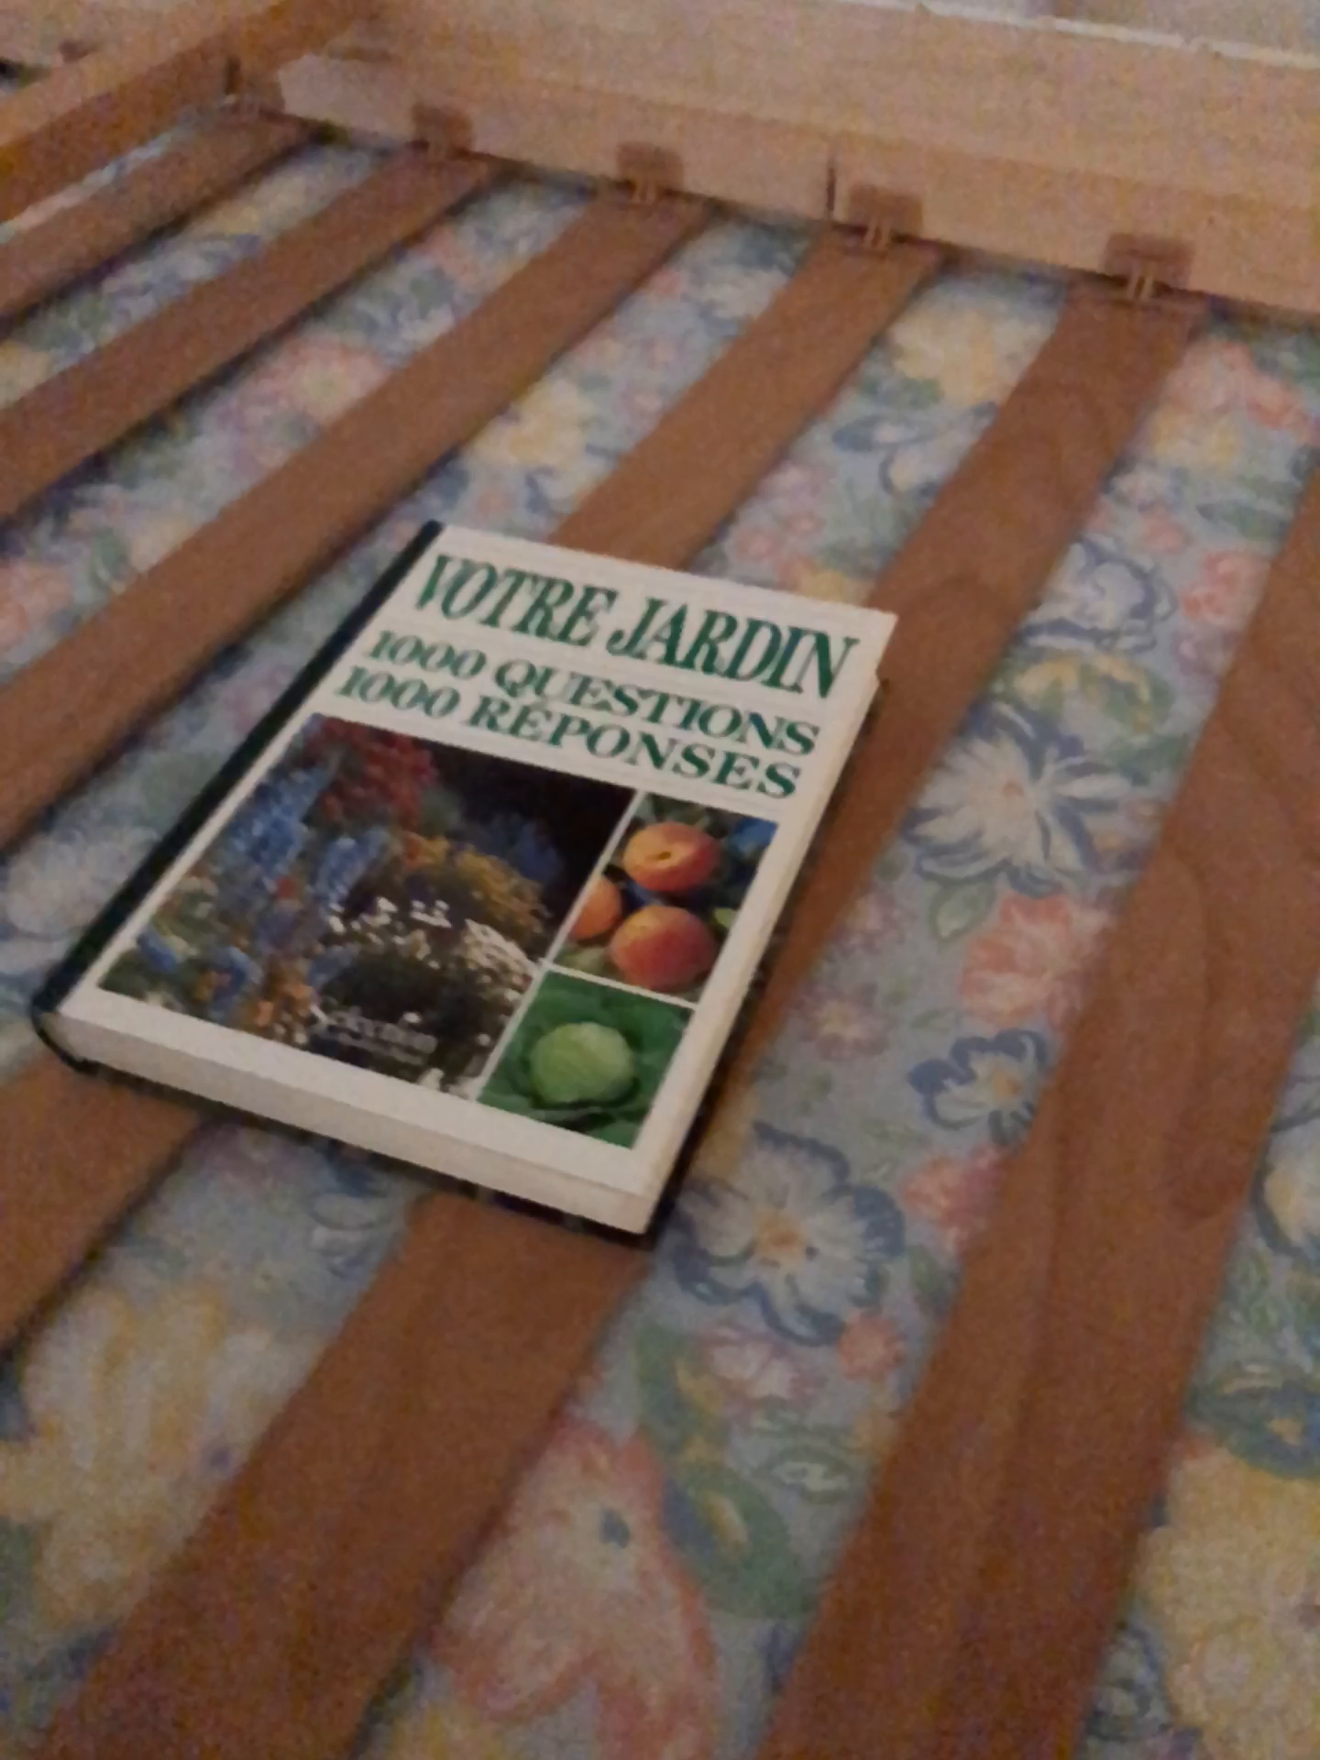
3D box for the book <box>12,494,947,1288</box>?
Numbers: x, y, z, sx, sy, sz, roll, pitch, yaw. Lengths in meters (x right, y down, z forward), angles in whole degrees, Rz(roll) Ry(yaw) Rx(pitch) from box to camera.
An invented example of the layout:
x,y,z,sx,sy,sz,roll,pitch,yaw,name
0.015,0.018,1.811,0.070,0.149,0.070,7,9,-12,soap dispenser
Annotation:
x,y,z,sx,sy,sz,roll,pitch,yaw,name
-0.043,-0.022,0.512,0.220,0.050,0.272,14,51,16,book
